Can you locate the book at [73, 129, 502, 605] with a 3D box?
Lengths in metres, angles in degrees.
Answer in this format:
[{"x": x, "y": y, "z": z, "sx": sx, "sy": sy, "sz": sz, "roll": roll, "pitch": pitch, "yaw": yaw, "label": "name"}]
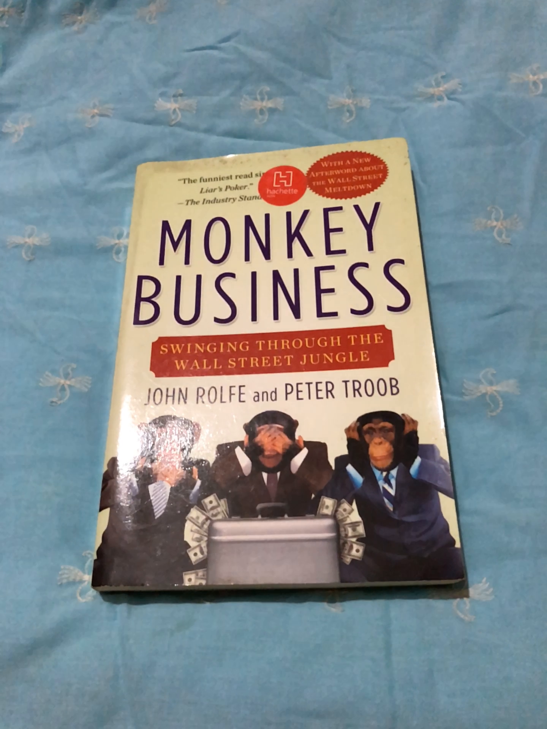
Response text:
[{"x": 0.007, "y": -0.009, "z": 0.310, "sx": 0.170, "sy": 0.040, "sz": 0.240, "roll": -1, "pitch": 65, "yaw": 5, "label": "book"}]
